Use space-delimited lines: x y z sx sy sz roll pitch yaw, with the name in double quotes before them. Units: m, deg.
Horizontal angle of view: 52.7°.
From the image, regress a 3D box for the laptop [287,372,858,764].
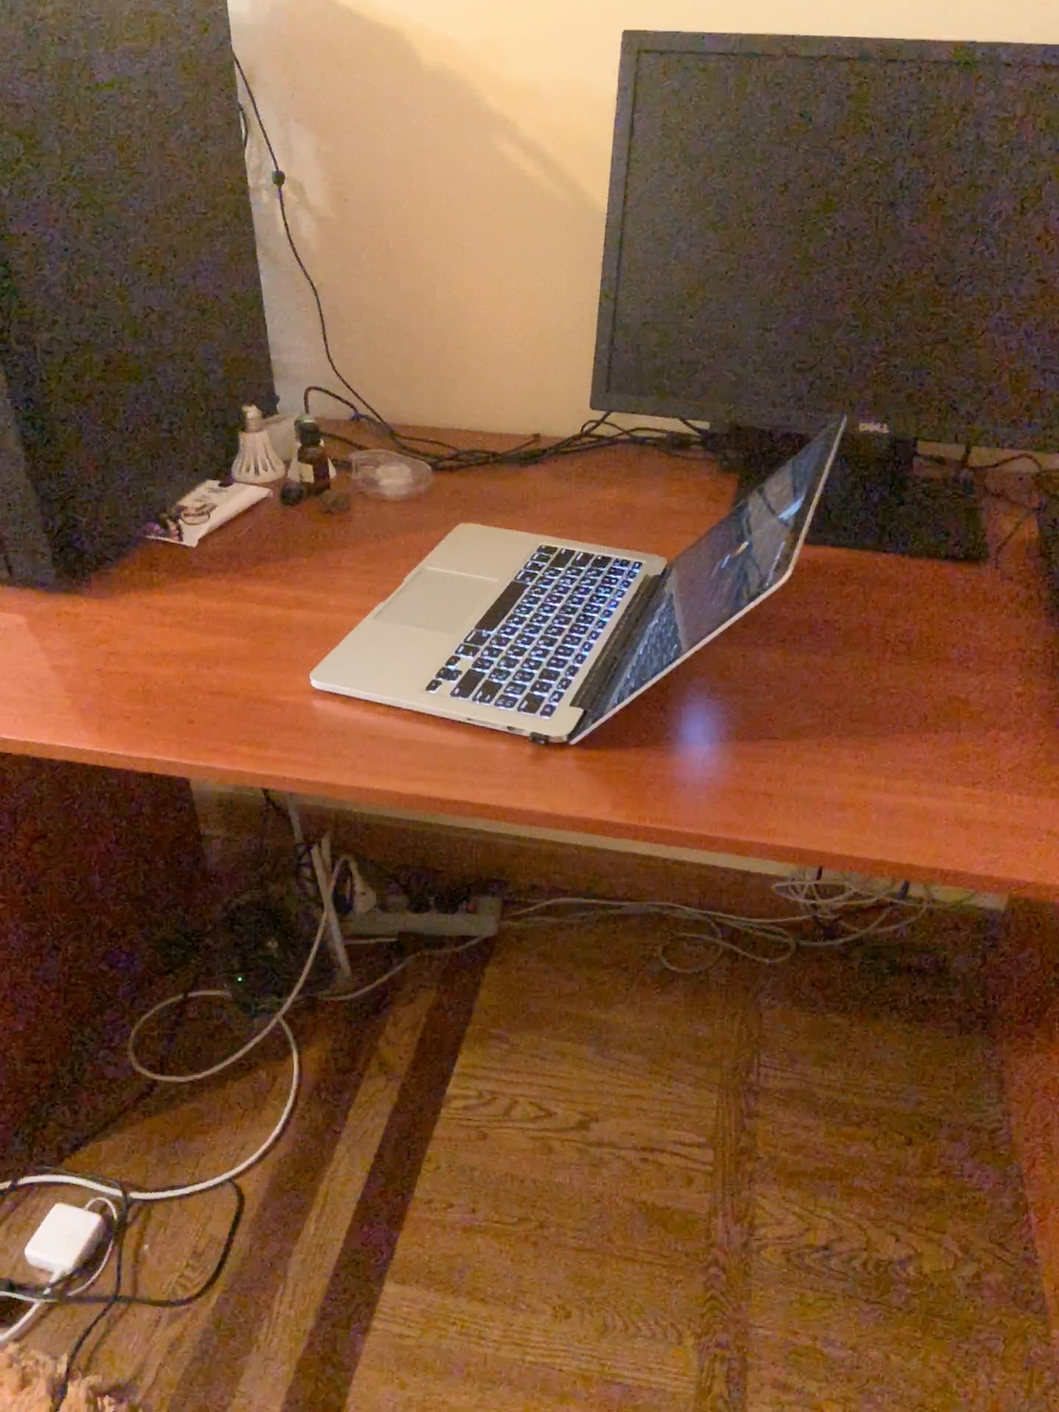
"laptop" 0.047 -0.126 0.809 0.333 0.139 0.287 10 37 17
